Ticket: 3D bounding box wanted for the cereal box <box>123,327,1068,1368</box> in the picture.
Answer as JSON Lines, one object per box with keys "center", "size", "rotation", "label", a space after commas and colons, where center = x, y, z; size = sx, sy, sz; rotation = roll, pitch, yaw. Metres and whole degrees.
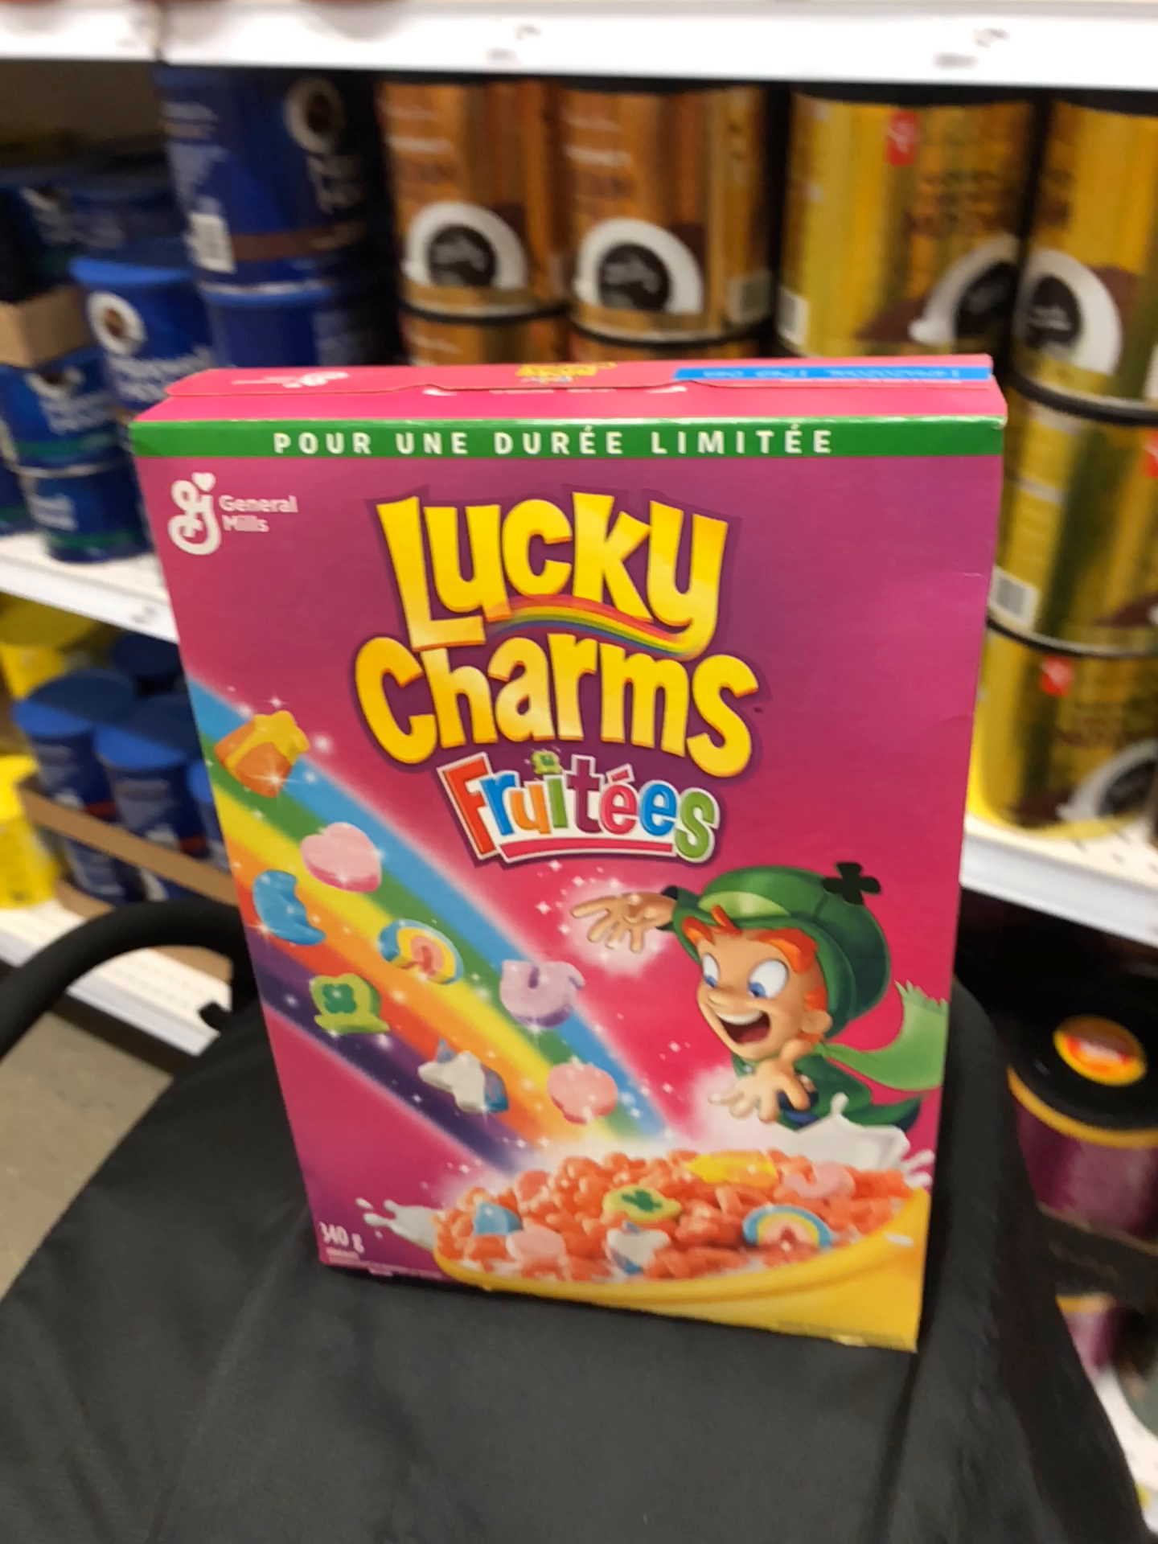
{"center": [0.008, 0.034, 0.370], "size": [0.200, 0.299, 0.060], "rotation": [4, 31, 11], "label": "cereal box"}
